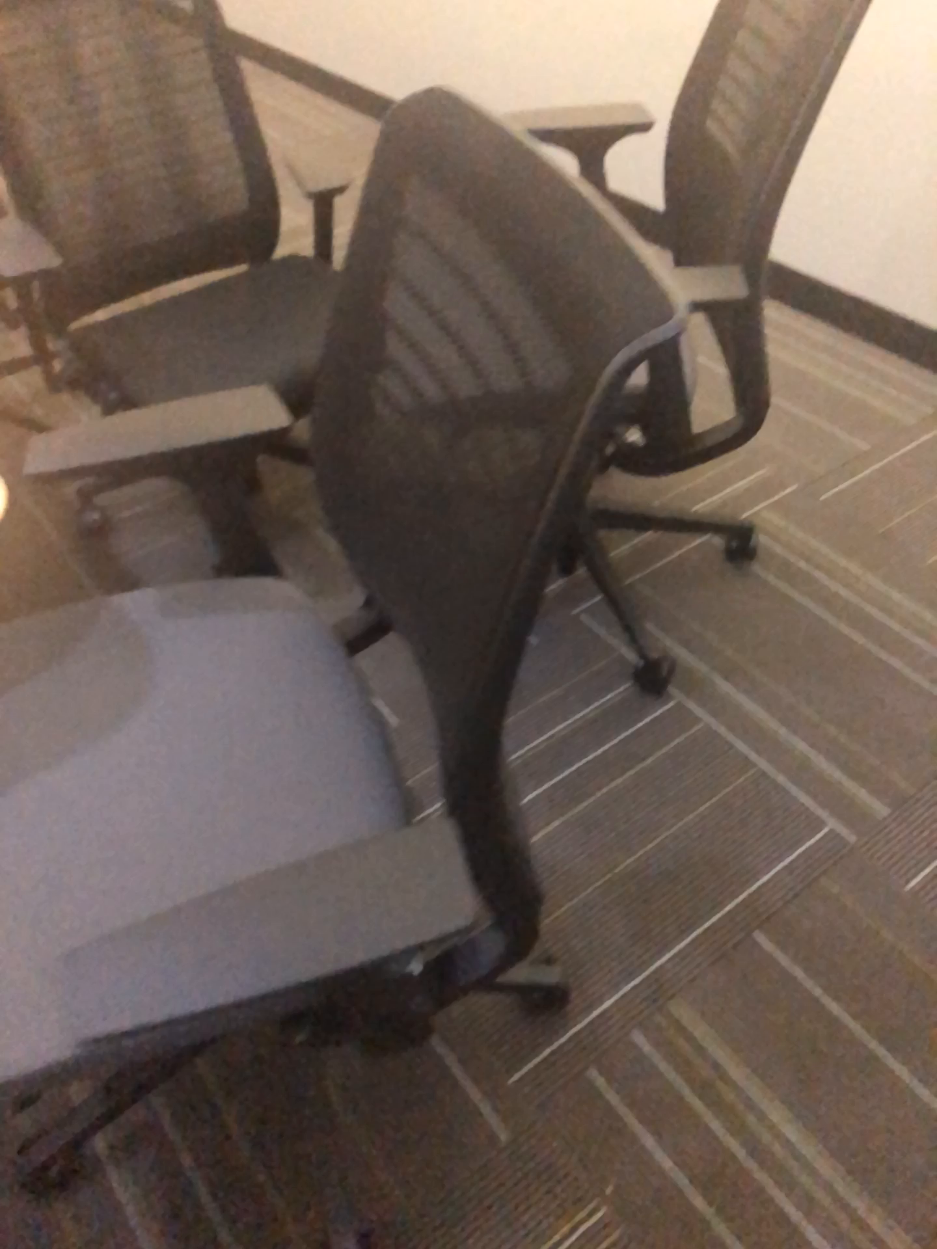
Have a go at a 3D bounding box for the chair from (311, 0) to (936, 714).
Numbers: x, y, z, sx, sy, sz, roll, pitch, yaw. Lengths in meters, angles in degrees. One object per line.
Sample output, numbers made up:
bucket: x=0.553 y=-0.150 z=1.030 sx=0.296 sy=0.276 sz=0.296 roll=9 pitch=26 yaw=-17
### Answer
chair: x=0.192 y=-0.491 z=1.571 sx=0.710 sy=0.962 sz=0.726 roll=-5 pitch=43 yaw=-2

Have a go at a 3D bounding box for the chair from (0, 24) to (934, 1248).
chair: x=-0.251 y=0.134 z=0.920 sx=0.721 sy=0.962 sz=0.735 roll=-14 pitch=44 yaw=-11
